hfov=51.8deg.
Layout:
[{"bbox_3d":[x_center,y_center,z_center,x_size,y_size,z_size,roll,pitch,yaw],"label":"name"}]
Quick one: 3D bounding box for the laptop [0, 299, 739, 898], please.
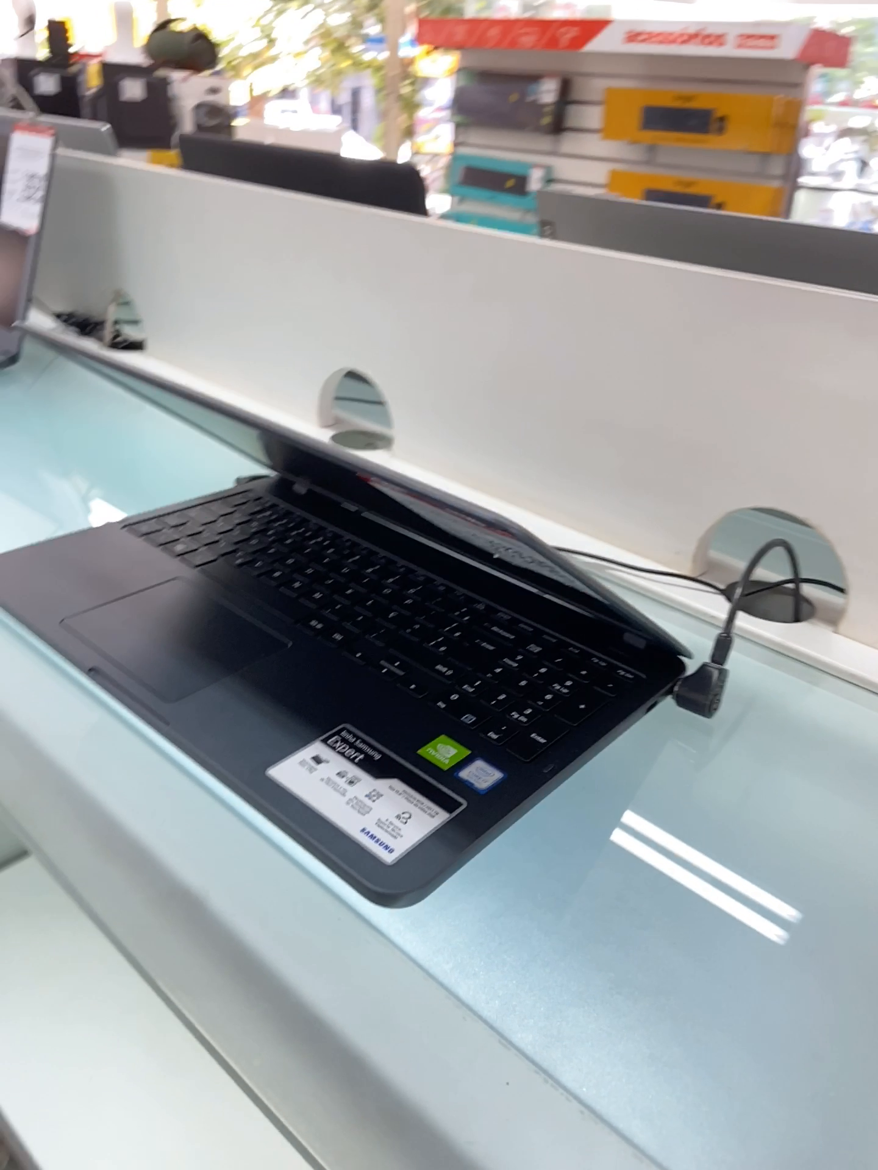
[{"bbox_3d":[-0.071,-0.044,0.516,0.377,0.139,0.239,25,35,34],"label":"laptop"}]
